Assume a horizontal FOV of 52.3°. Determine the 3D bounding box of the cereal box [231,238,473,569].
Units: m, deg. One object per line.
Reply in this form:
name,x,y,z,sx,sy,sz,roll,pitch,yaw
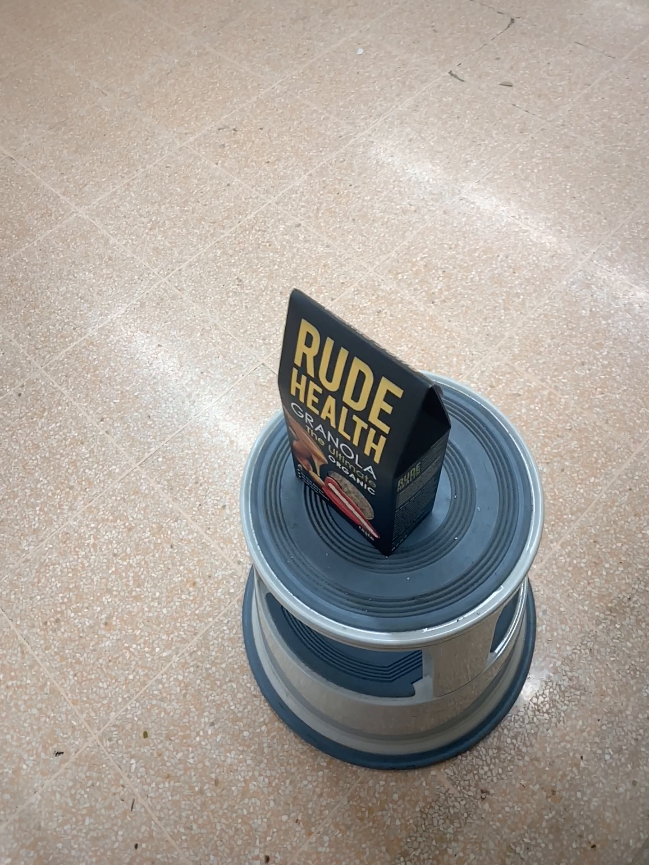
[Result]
cereal box,0.024,-0.004,0.521,0.070,0.258,0.141,-42,65,-17
